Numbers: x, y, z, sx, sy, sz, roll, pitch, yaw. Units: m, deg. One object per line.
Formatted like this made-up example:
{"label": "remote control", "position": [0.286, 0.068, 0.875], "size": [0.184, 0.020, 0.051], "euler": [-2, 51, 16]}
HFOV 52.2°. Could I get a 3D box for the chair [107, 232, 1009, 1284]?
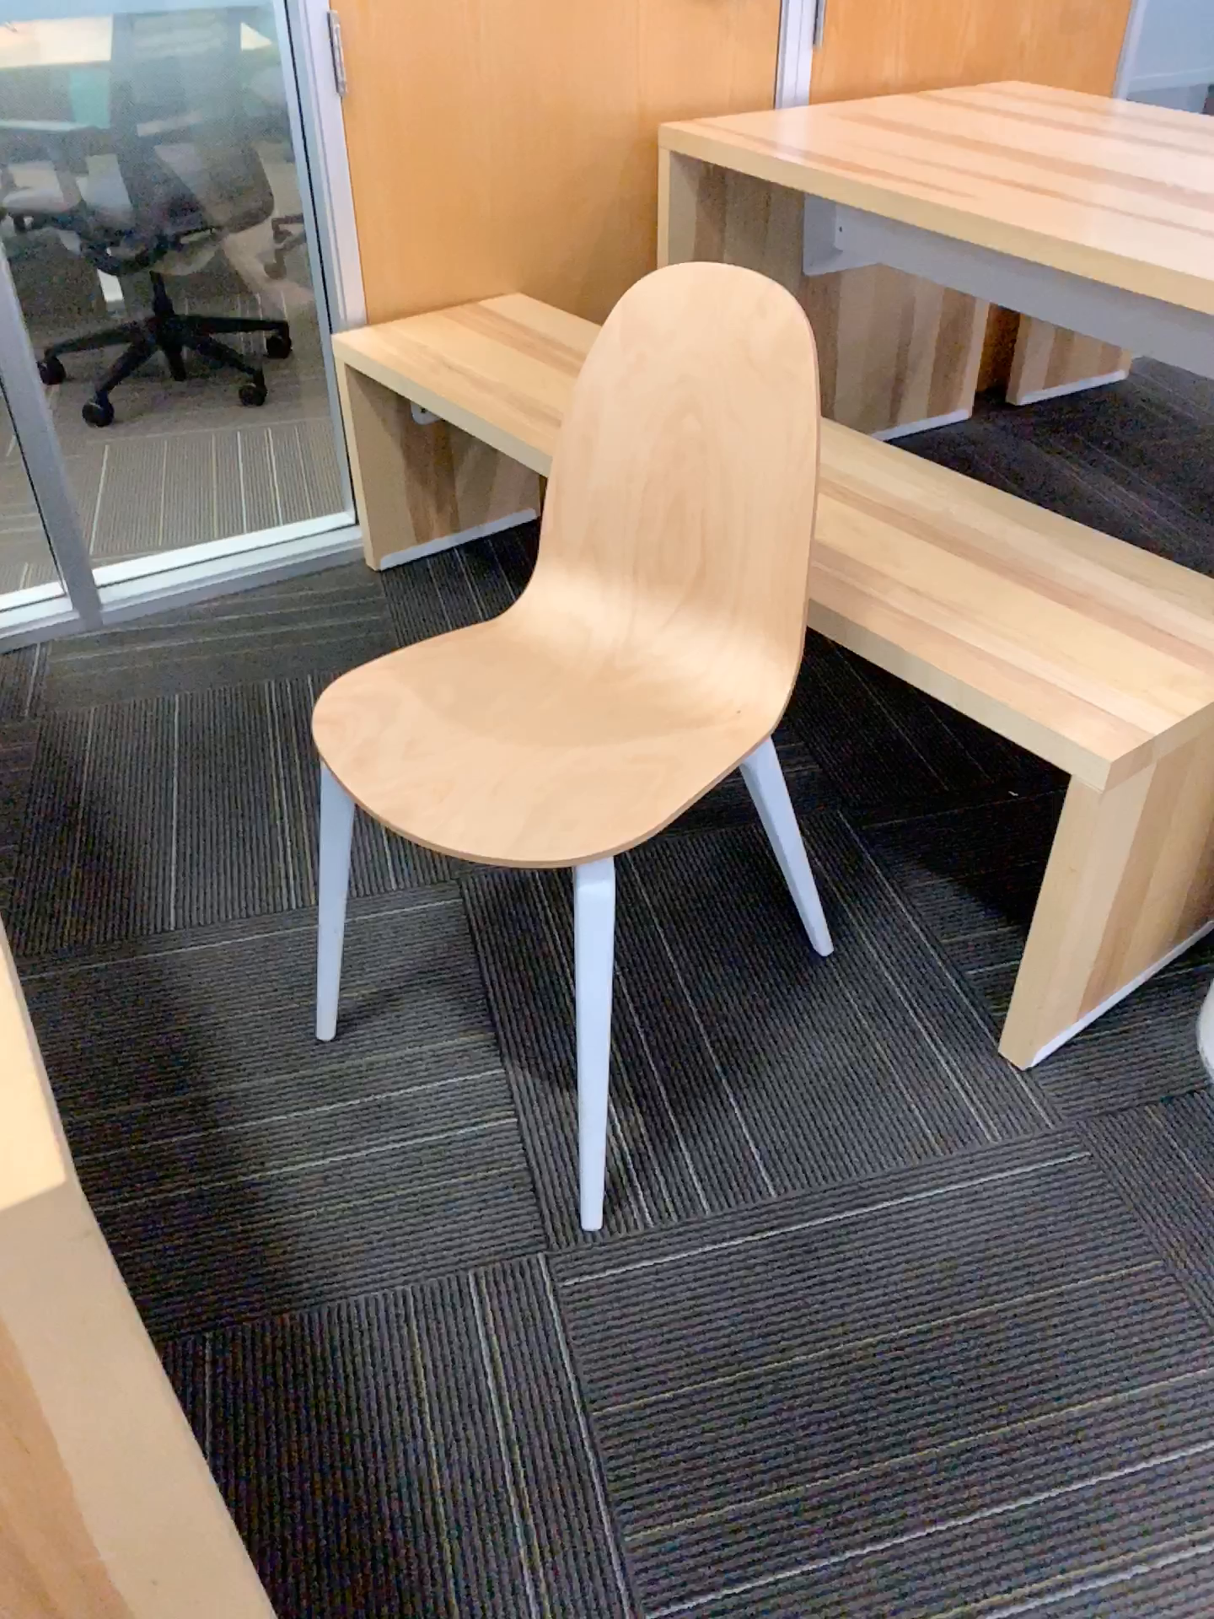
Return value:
{"label": "chair", "position": [-0.021, -0.084, 1.358], "size": [0.542, 0.835, 0.601], "euler": [26, 46, 31]}
